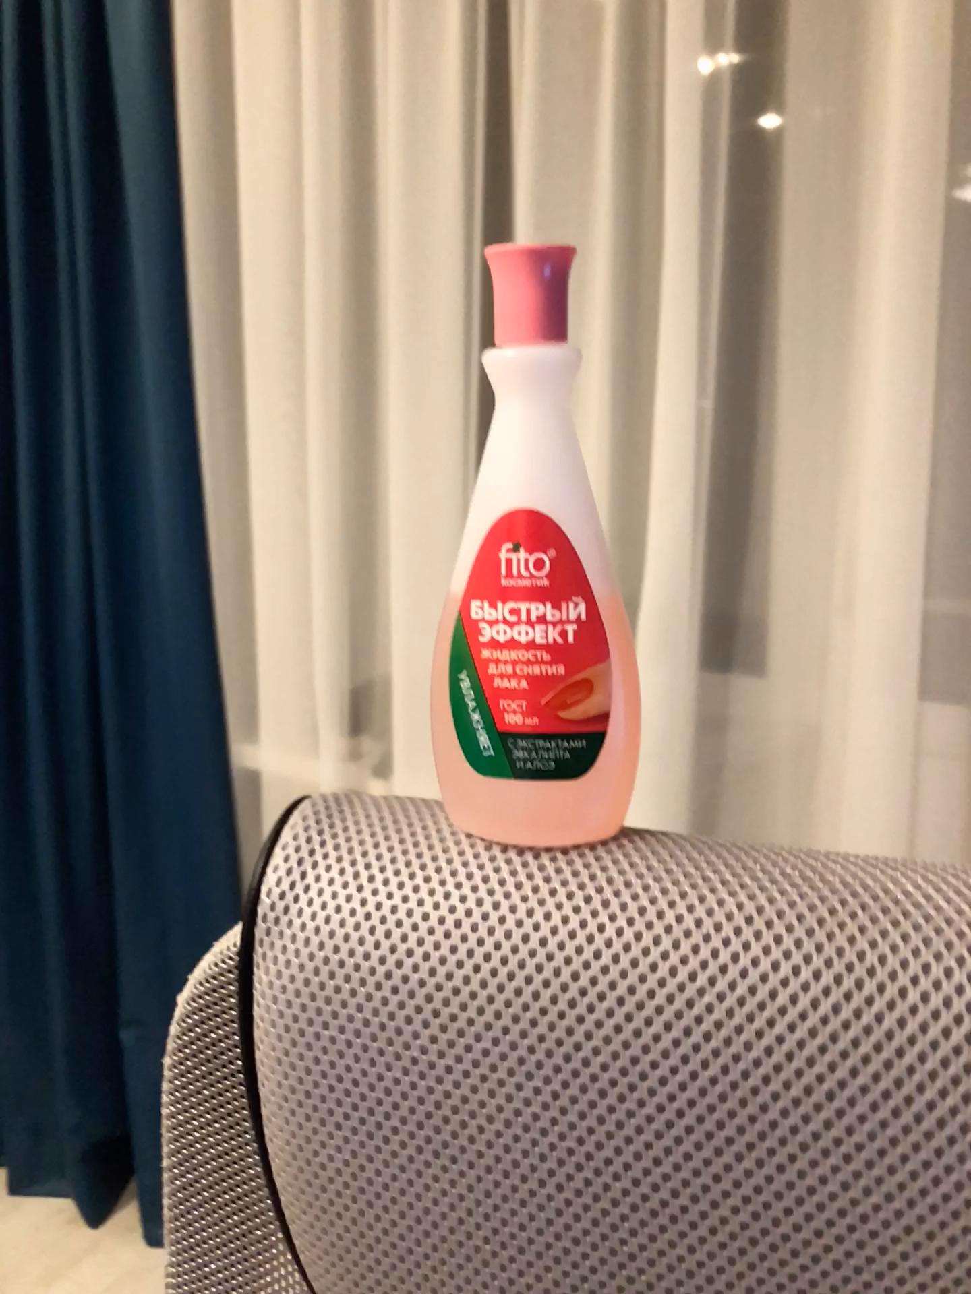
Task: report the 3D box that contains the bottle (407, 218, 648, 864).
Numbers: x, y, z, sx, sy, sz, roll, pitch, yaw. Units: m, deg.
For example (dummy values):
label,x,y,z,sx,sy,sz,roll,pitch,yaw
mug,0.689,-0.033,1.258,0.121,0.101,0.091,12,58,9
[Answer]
label,x,y,z,sx,sy,sz,roll,pitch,yaw
bottle,0.013,-0.026,0.286,0.056,0.158,0.039,1,11,10
